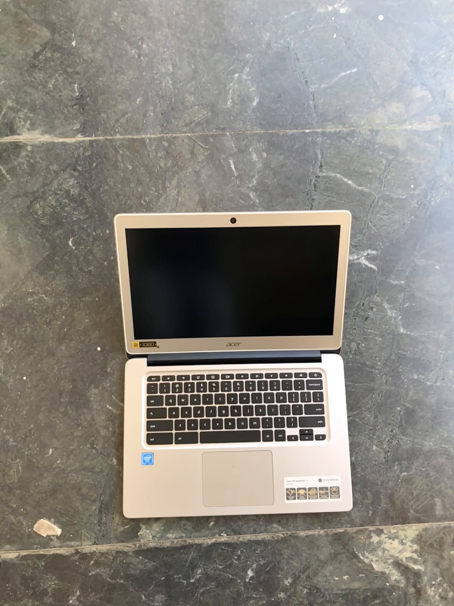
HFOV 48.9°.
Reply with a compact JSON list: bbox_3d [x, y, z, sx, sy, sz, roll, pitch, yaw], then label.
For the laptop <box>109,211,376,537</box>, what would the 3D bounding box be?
[{"bbox_3d":[0.014,0.092,0.727,0.338,0.117,0.424,-1,79,-2],"label":"laptop"}]
